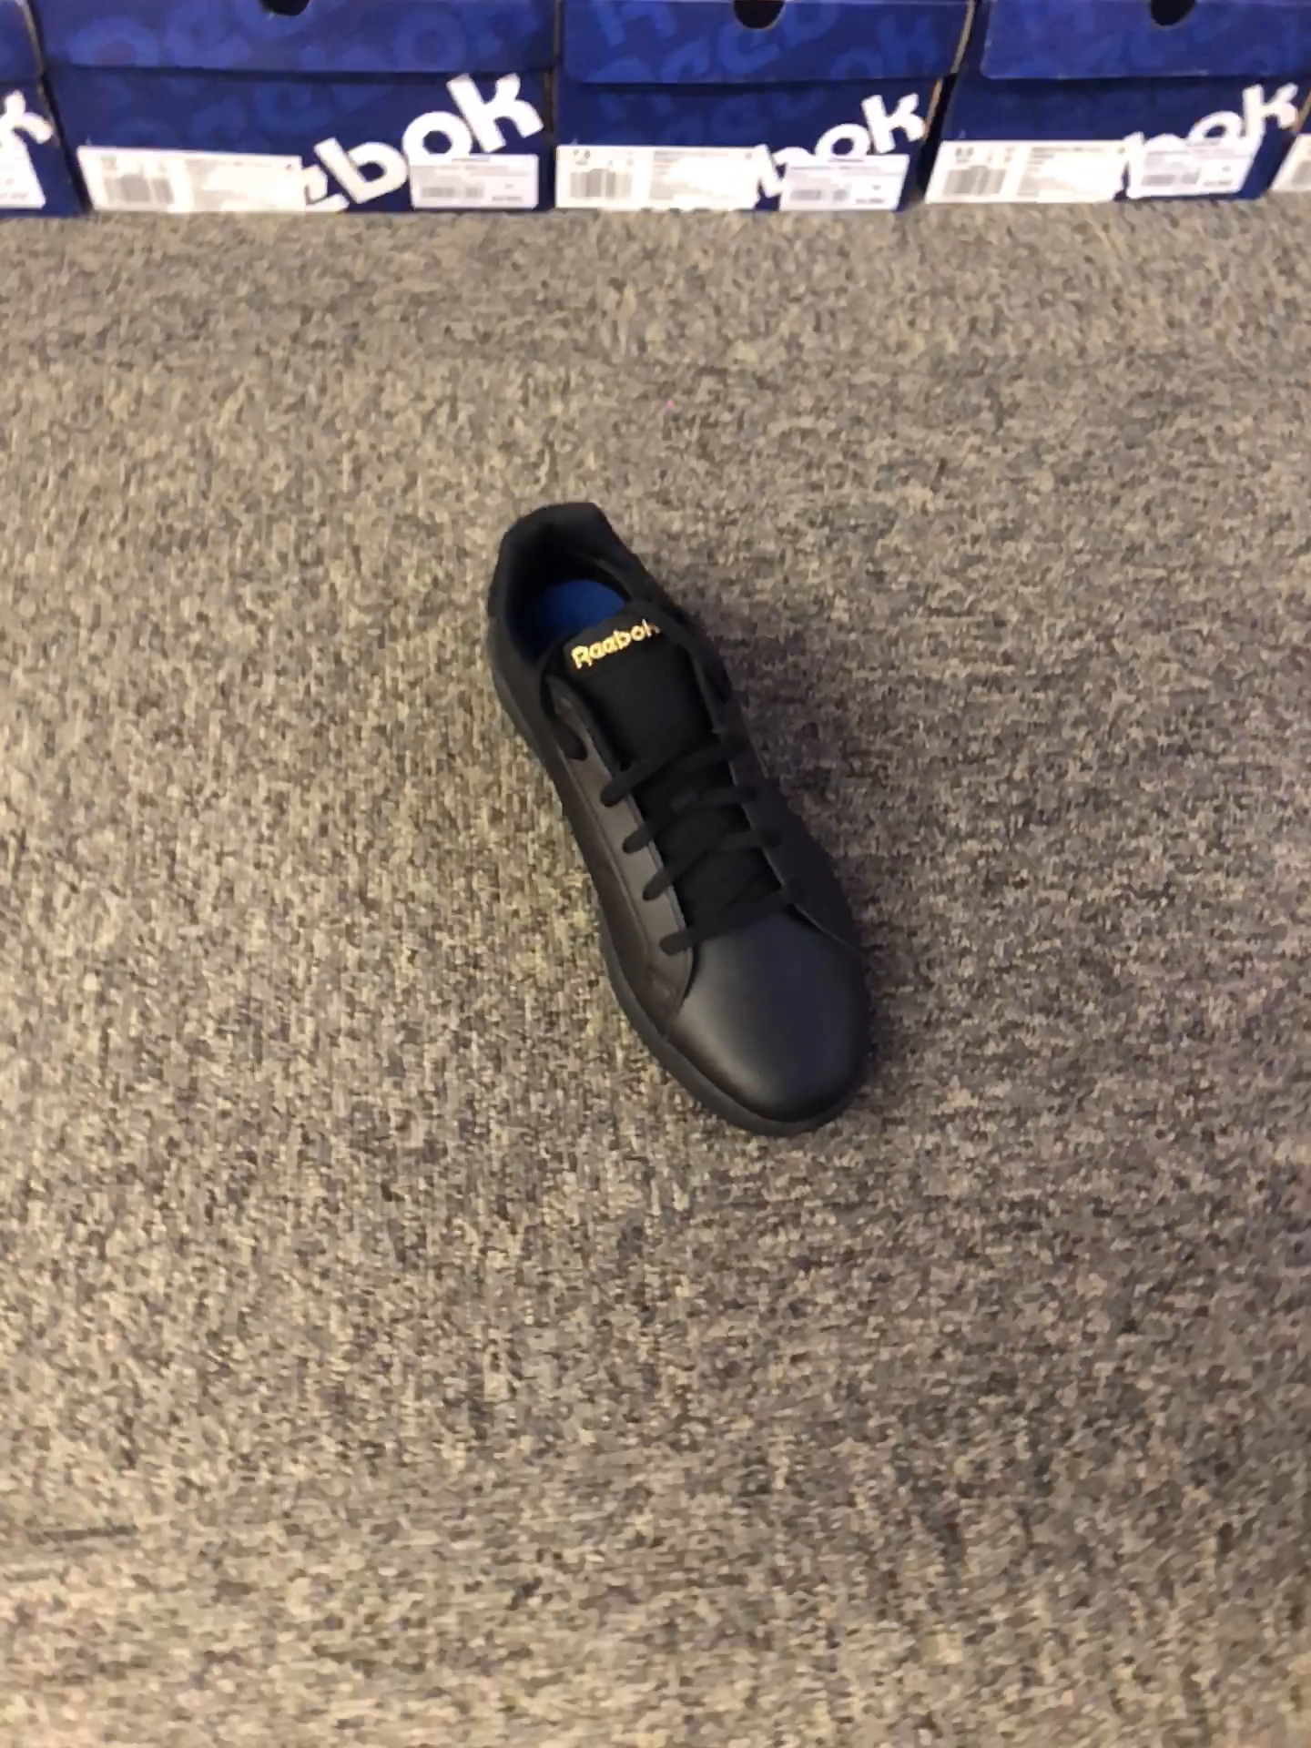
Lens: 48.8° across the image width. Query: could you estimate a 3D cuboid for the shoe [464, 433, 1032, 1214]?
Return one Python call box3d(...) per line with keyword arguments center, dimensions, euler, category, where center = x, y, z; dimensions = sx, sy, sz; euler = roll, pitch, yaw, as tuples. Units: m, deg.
box3d(center=(0.021, -0.023, 0.536), dimensions=(0.098, 0.090, 0.261), euler=(-19, 69, -14), category="shoe")
